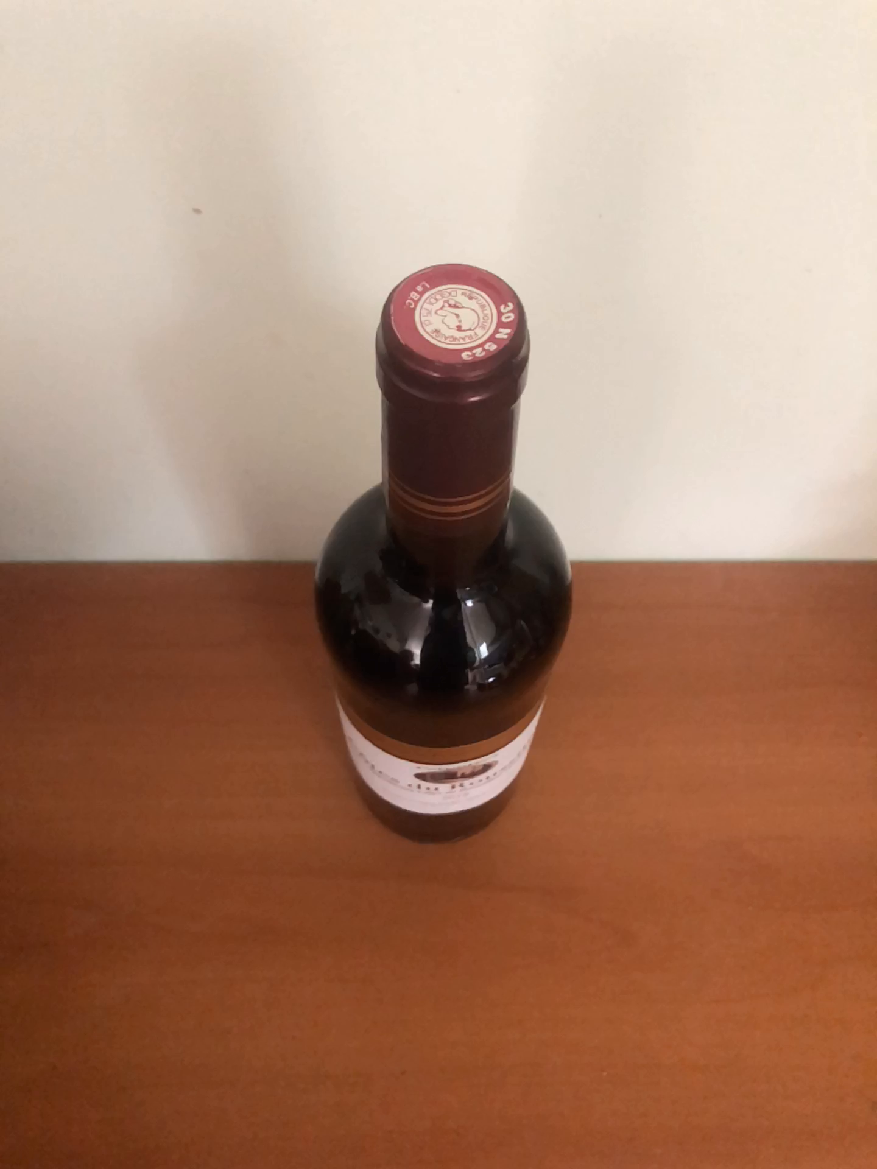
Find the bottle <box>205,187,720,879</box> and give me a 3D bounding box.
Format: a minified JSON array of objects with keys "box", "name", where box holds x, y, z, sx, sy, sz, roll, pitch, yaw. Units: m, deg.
[{"box":[0.000,0.024,0.299,0.080,0.289,0.080,0,64,-1],"name":"bottle"}]
